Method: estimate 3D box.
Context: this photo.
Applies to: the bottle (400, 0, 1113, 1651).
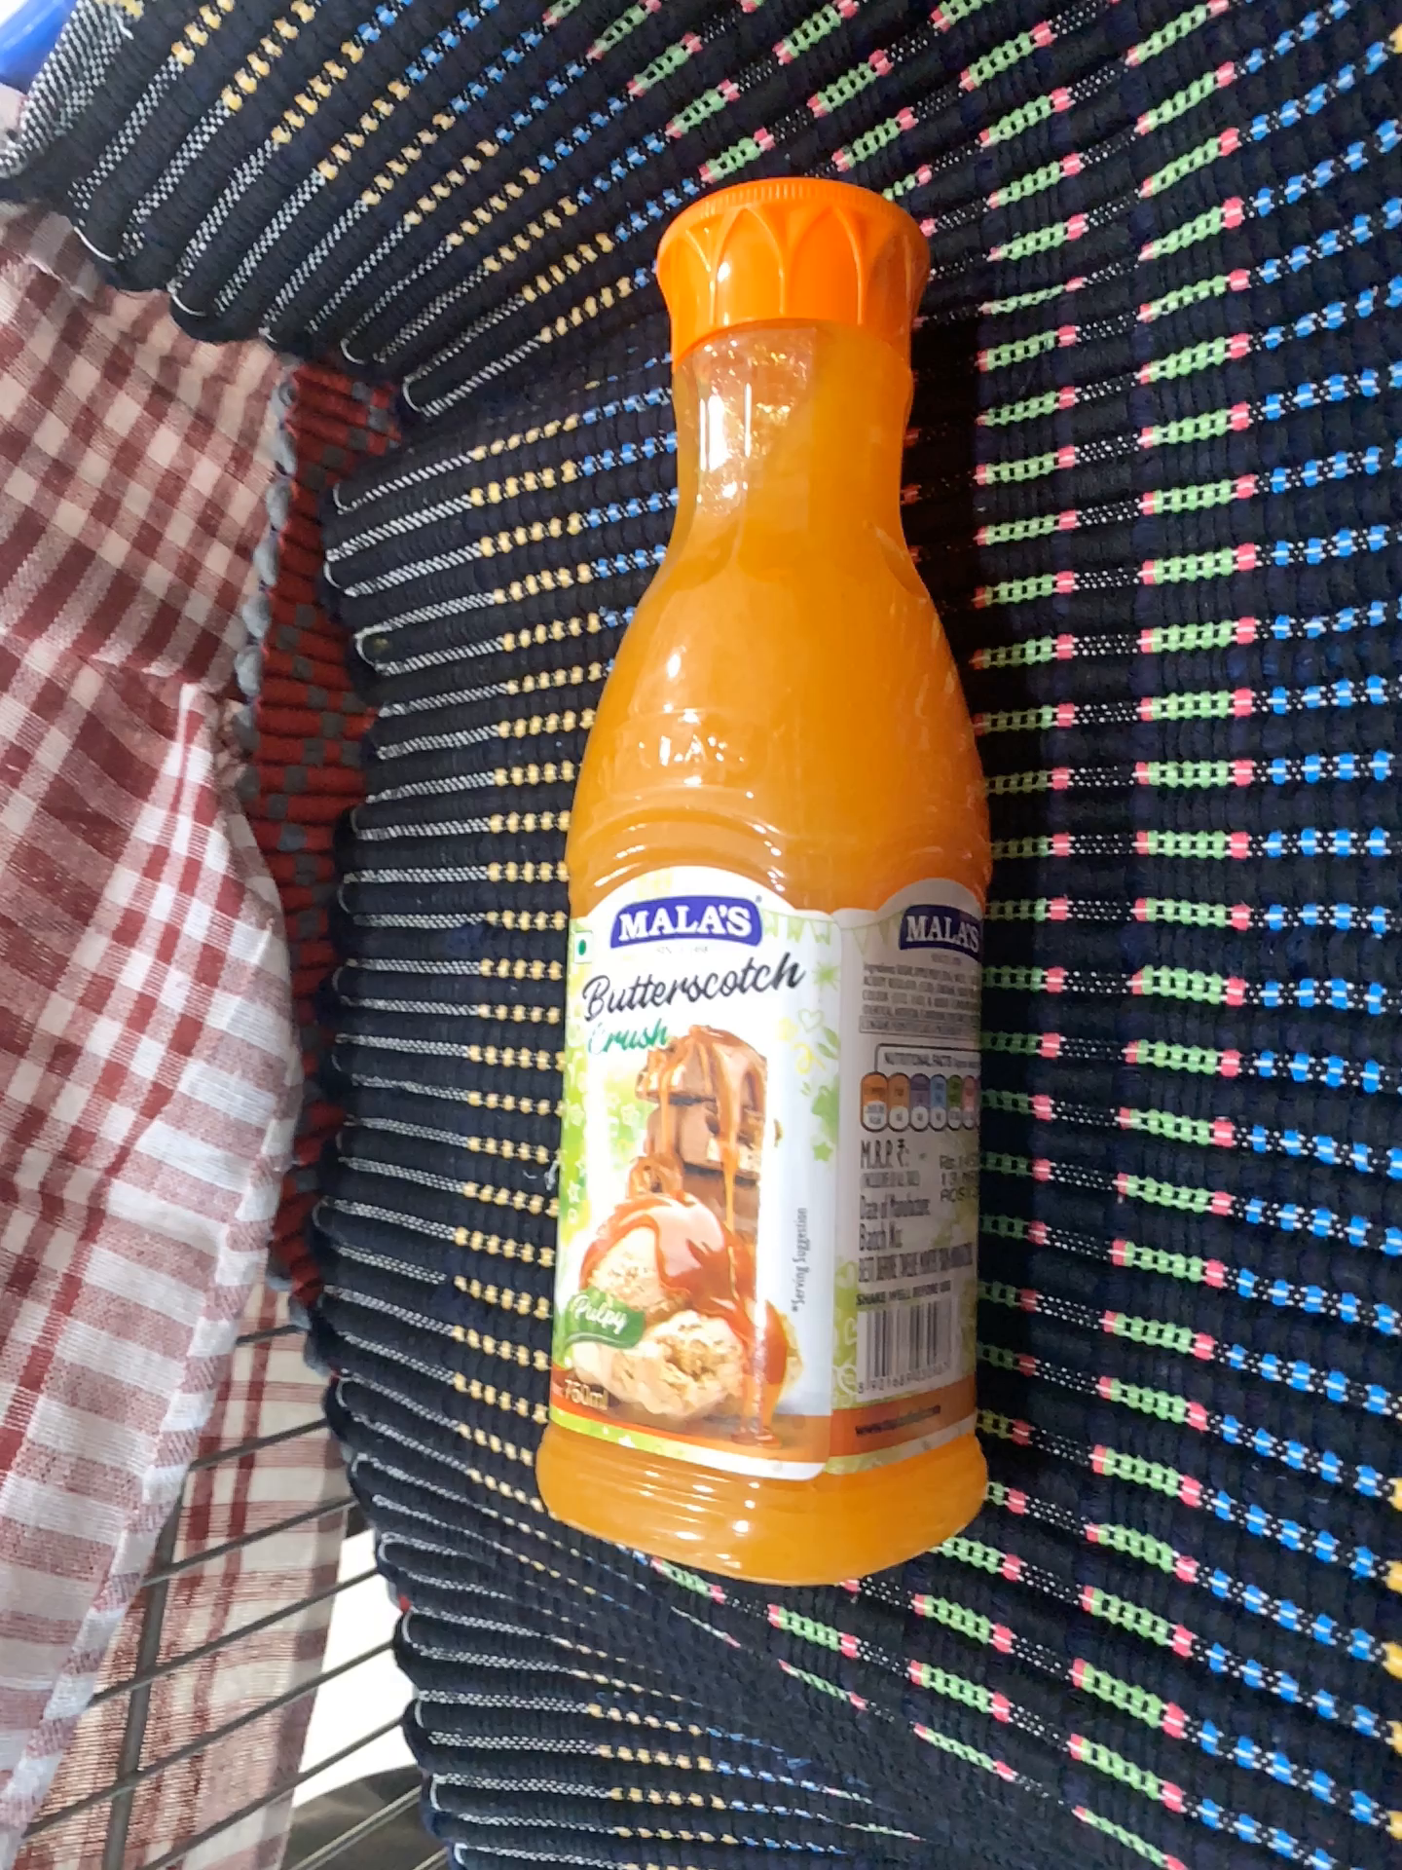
[{"bbox_3d":[0.014,-0.029,0.241,0.070,0.060,0.250,-1,78,41],"label":"bottle"}]
